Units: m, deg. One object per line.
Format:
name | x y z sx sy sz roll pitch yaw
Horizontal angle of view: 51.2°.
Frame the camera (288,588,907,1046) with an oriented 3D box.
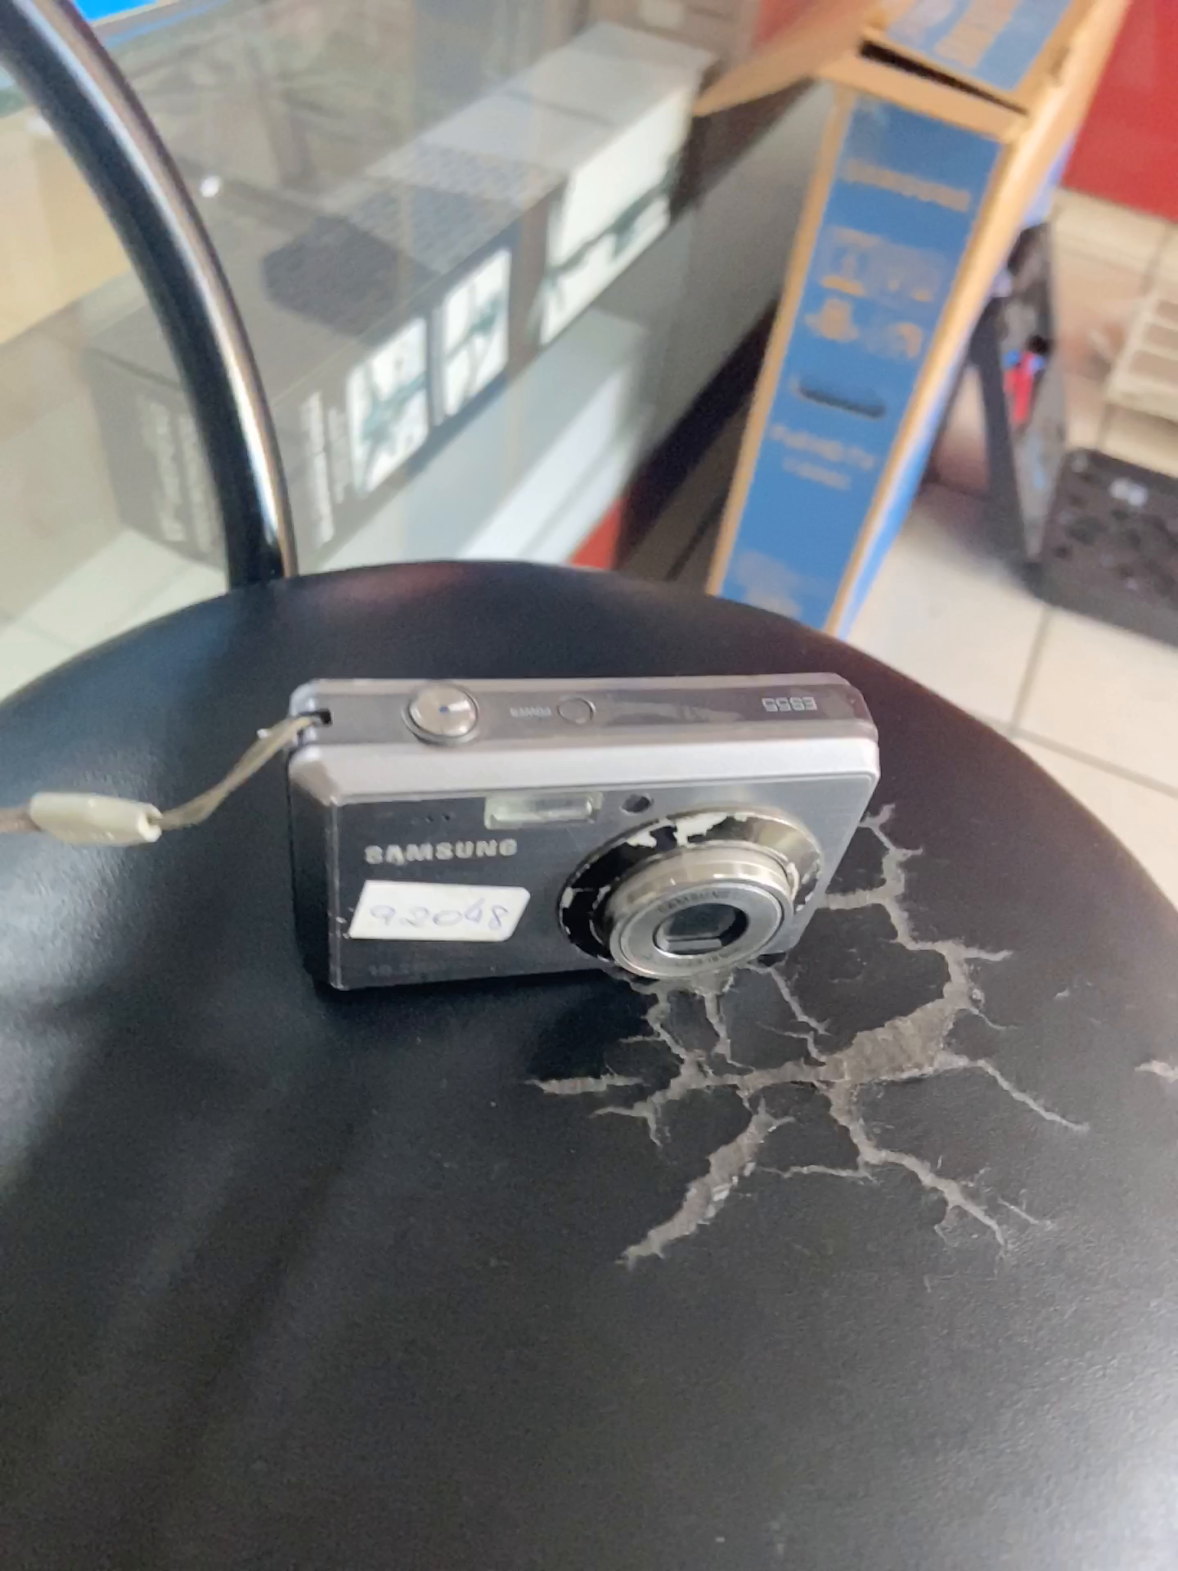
camera | -0.004 0.006 0.214 0.090 0.070 0.040 -2 49 -12
